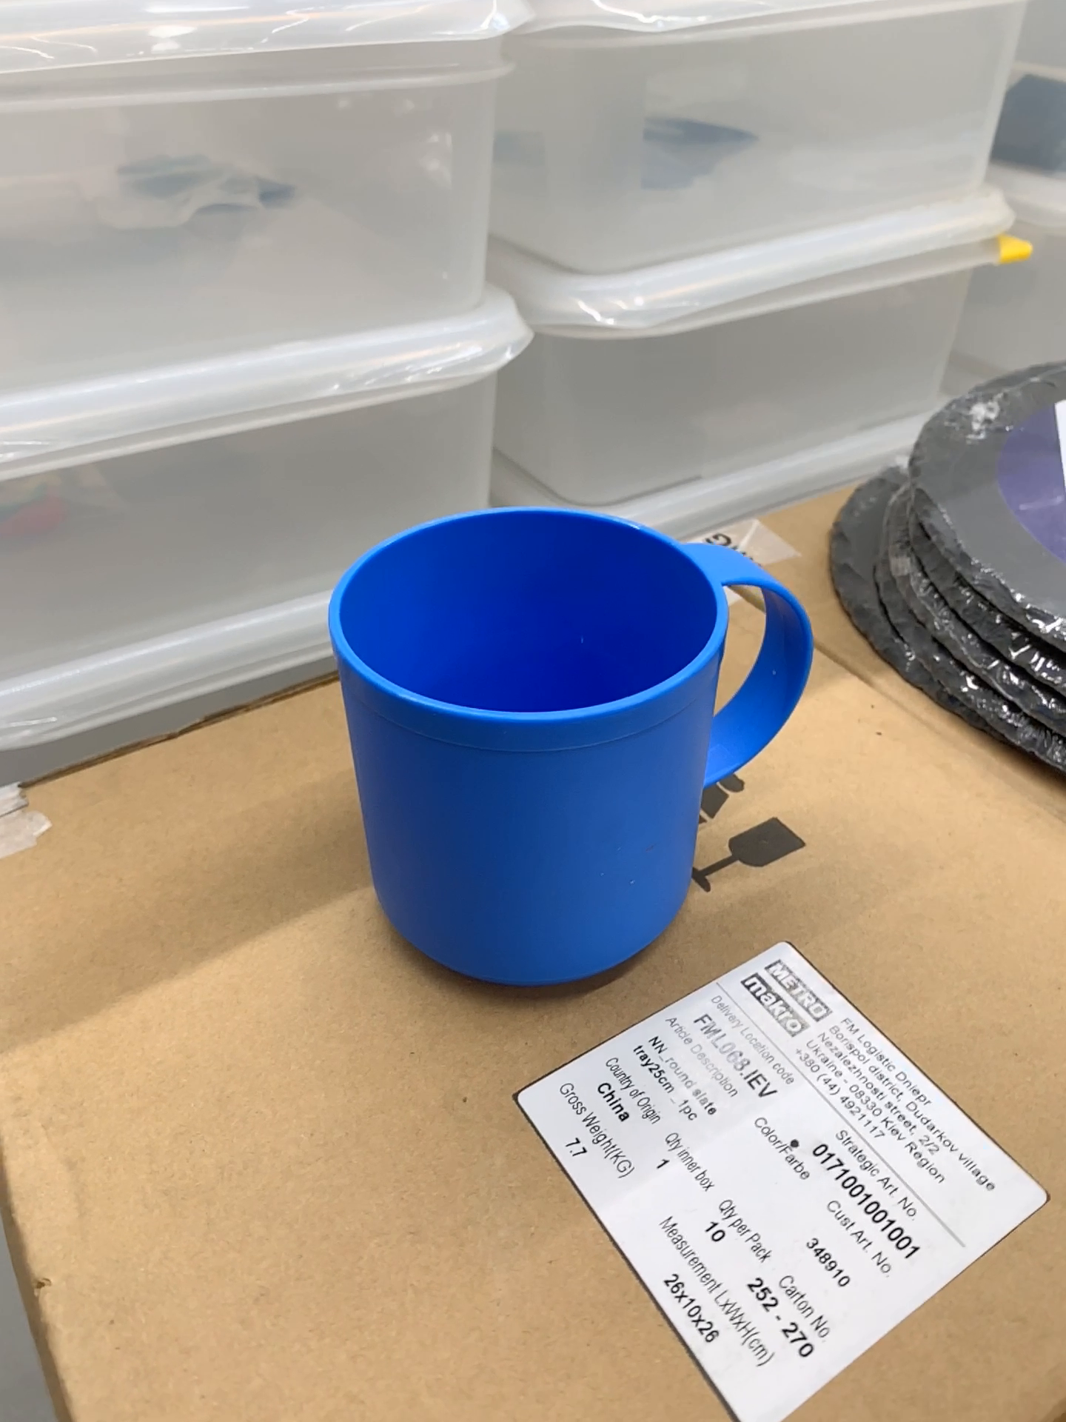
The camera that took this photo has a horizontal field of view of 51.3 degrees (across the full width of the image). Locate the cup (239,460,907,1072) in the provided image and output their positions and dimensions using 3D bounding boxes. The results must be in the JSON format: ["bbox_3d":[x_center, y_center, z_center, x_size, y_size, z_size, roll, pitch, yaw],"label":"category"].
[{"bbox_3d":[0.006,0.004,0.252,0.109,0.071,0.089,-19,40,-21],"label":"cup"}]
